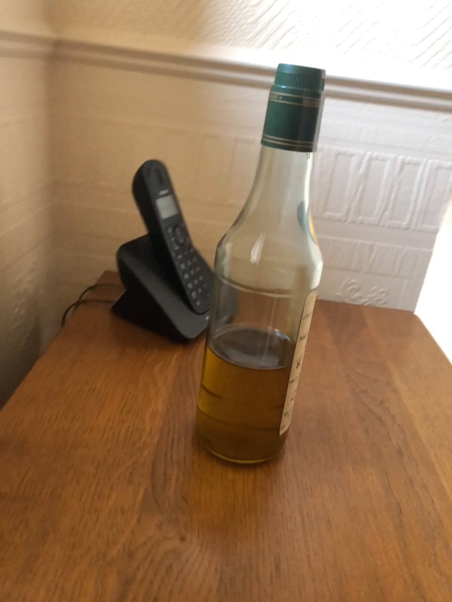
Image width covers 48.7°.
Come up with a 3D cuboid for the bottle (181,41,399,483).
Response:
[{"bbox_3d":[0.027,-0.013,0.316,0.080,0.258,0.070,7,24,-1],"label":"bottle"}]
